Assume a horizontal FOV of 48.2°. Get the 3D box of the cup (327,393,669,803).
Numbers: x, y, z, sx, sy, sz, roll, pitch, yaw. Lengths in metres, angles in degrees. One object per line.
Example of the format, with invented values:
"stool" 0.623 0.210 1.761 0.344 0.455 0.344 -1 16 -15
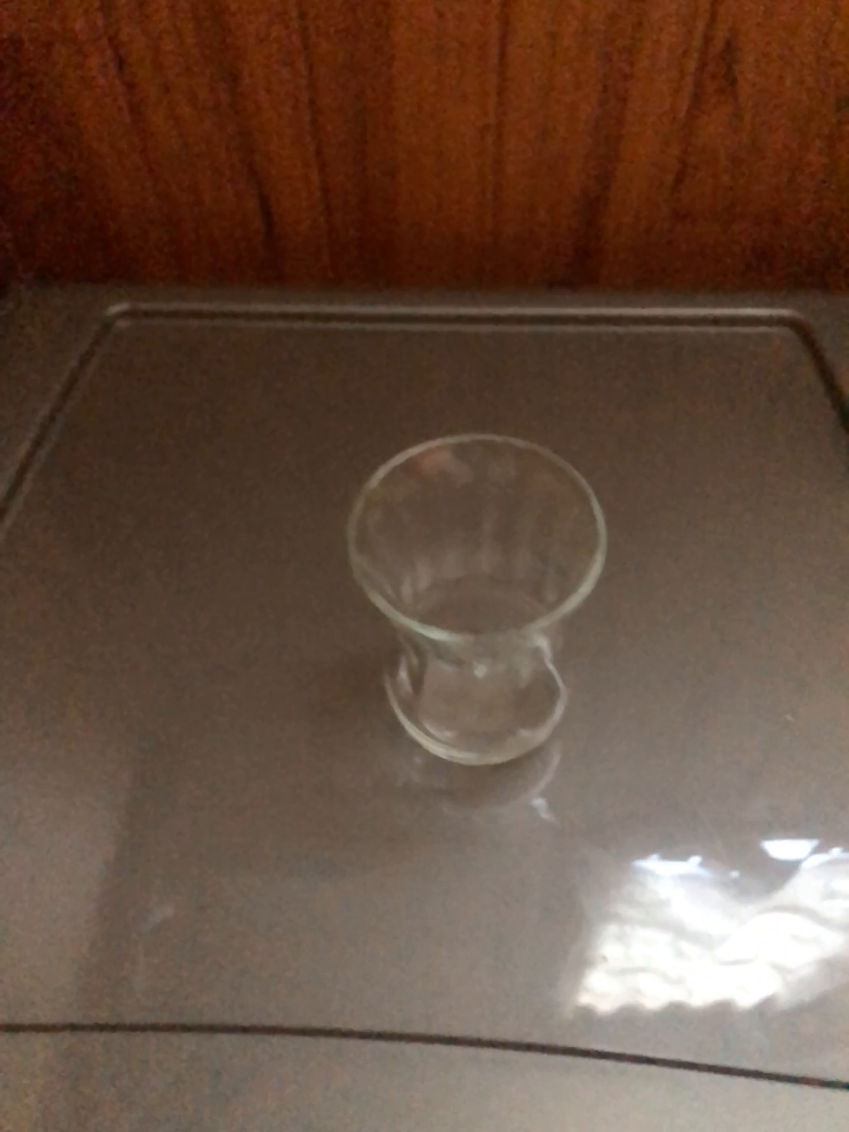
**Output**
"cup" 0.016 0.011 0.251 0.060 0.080 0.060 -1 55 1
